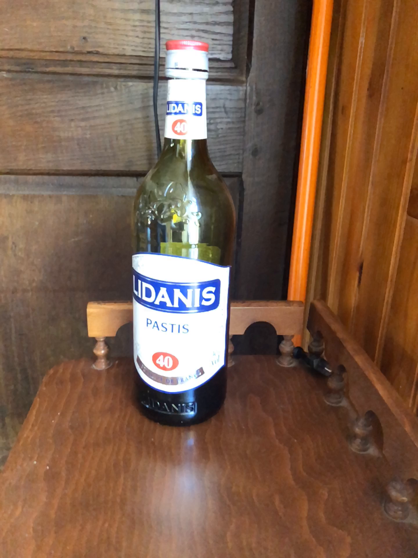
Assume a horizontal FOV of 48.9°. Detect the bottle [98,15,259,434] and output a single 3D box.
[{"bbox_3d":[-0.020,-0.033,0.368,0.090,0.299,0.080,6,21,13],"label":"bottle"}]
